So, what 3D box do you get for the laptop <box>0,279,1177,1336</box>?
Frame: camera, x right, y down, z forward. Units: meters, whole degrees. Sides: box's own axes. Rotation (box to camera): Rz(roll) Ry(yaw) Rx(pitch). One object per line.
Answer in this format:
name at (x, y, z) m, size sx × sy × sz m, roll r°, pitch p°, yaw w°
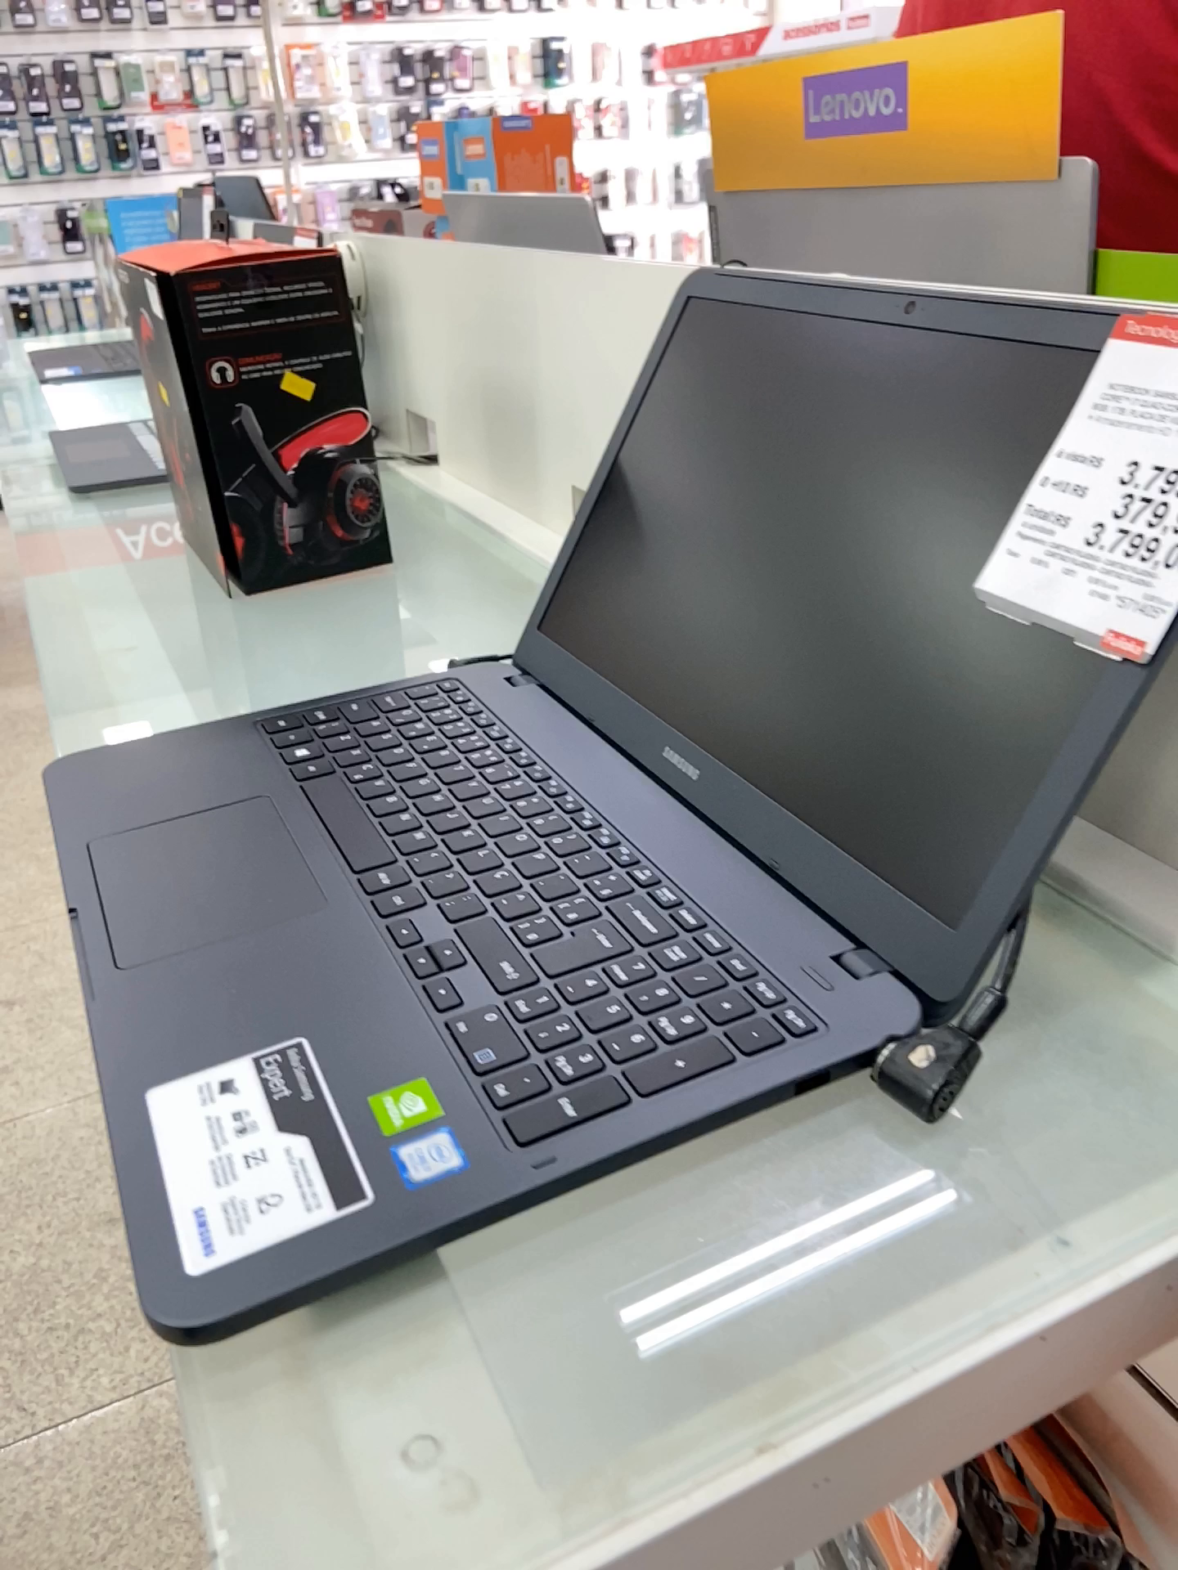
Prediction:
laptop at (-0.026, -0.068, 0.472) m, size 0.369 × 0.192 × 0.372 m, roll -15°, pitch 29°, yaw -21°
